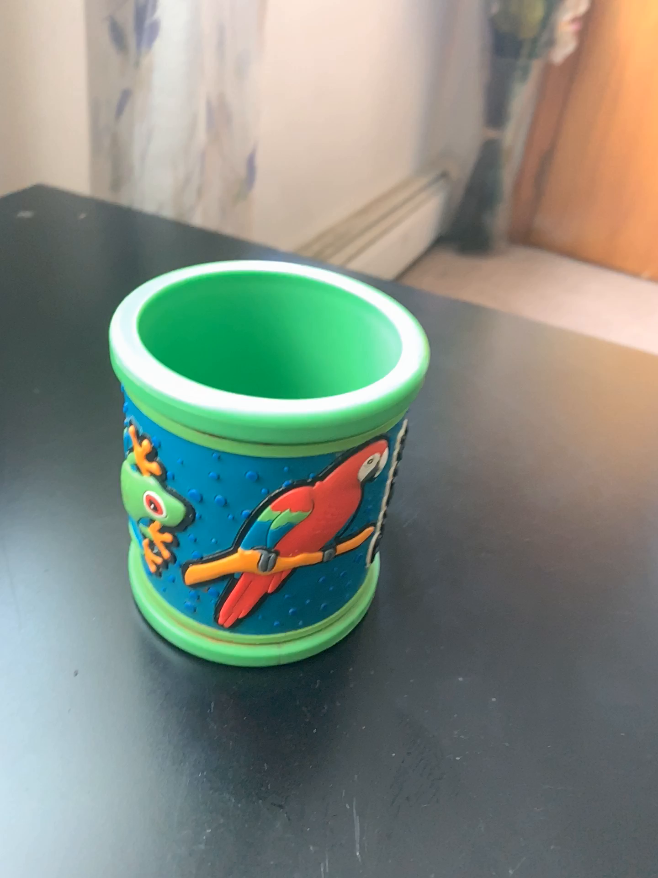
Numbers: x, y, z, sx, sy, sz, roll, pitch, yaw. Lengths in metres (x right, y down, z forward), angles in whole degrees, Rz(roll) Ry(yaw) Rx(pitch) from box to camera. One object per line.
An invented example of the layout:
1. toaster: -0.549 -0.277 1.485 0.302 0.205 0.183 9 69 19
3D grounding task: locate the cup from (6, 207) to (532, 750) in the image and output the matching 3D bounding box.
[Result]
1. cup: -0.013 0.001 0.213 0.080 0.099 0.121 30 41 27
